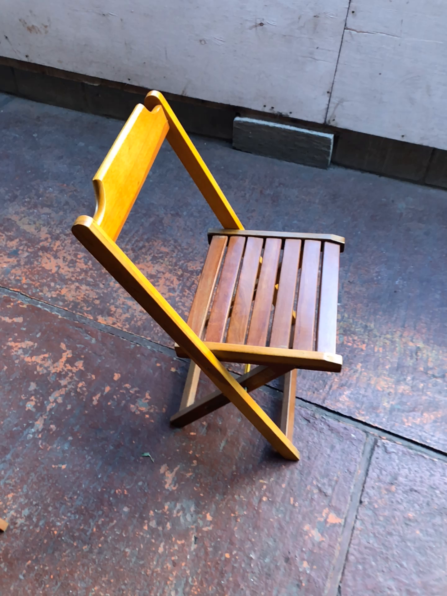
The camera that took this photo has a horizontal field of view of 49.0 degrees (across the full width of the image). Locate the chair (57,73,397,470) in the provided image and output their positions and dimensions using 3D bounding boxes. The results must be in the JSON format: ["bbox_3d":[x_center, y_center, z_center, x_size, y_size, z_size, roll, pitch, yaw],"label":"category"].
[{"bbox_3d":[0.029,-0.022,1.094,0.470,0.736,0.453,6,47,6],"label":"chair"}]
